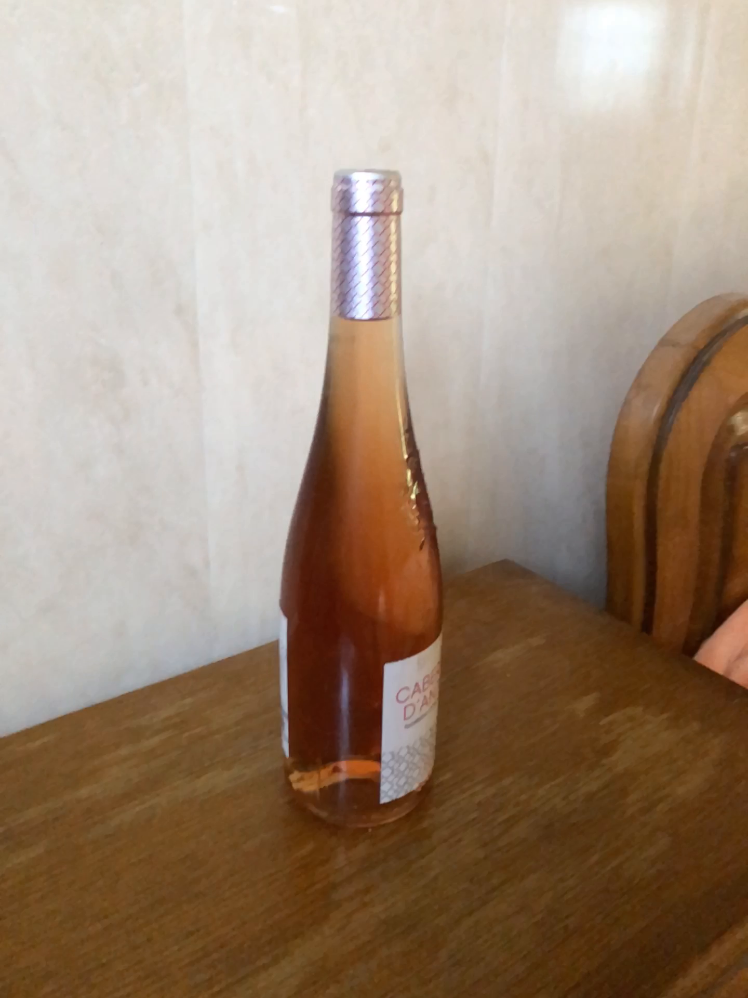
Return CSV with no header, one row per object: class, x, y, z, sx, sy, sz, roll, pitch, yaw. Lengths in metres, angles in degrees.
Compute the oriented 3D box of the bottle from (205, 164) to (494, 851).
bottle,-0.012,0.005,0.389,0.090,0.299,0.080,12,23,26
